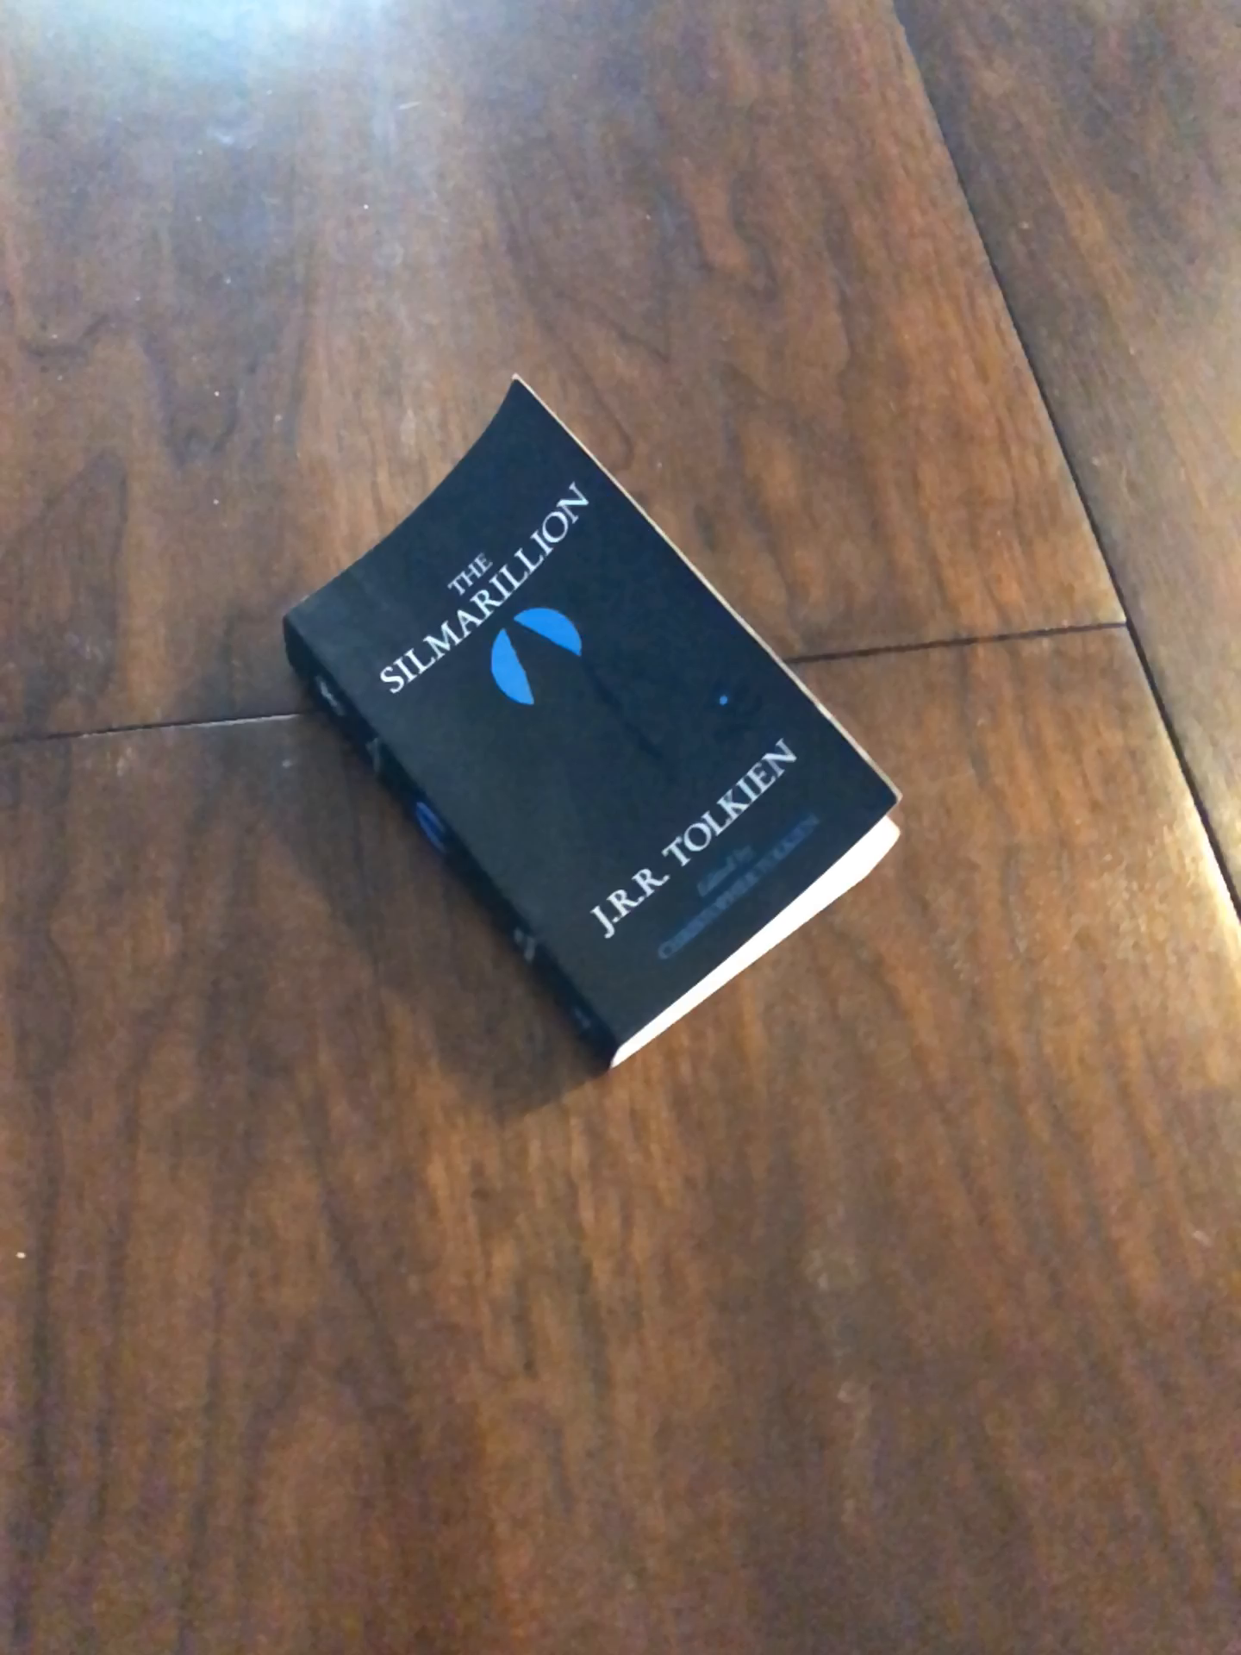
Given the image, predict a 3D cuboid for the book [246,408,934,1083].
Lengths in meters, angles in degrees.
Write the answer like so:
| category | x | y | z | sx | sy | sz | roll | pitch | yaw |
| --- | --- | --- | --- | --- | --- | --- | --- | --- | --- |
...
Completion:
| category | x | y | z | sx | sy | sz | roll | pitch | yaw |
| --- | --- | --- | --- | --- | --- | --- | --- | --- | --- |
| book | -0.012 | -0.032 | 0.427 | 0.119 | 0.040 | 0.180 | -36 | 74 | -19 |
